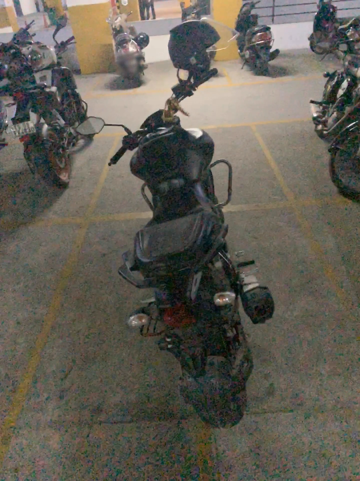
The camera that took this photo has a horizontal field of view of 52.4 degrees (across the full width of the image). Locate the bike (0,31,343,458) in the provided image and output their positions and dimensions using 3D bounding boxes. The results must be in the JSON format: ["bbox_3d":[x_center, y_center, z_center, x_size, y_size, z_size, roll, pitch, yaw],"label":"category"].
[{"bbox_3d":[-0.154,-0.190,1.772,0.785,1.097,1.744,-9,38,-5],"label":"bike"}]
